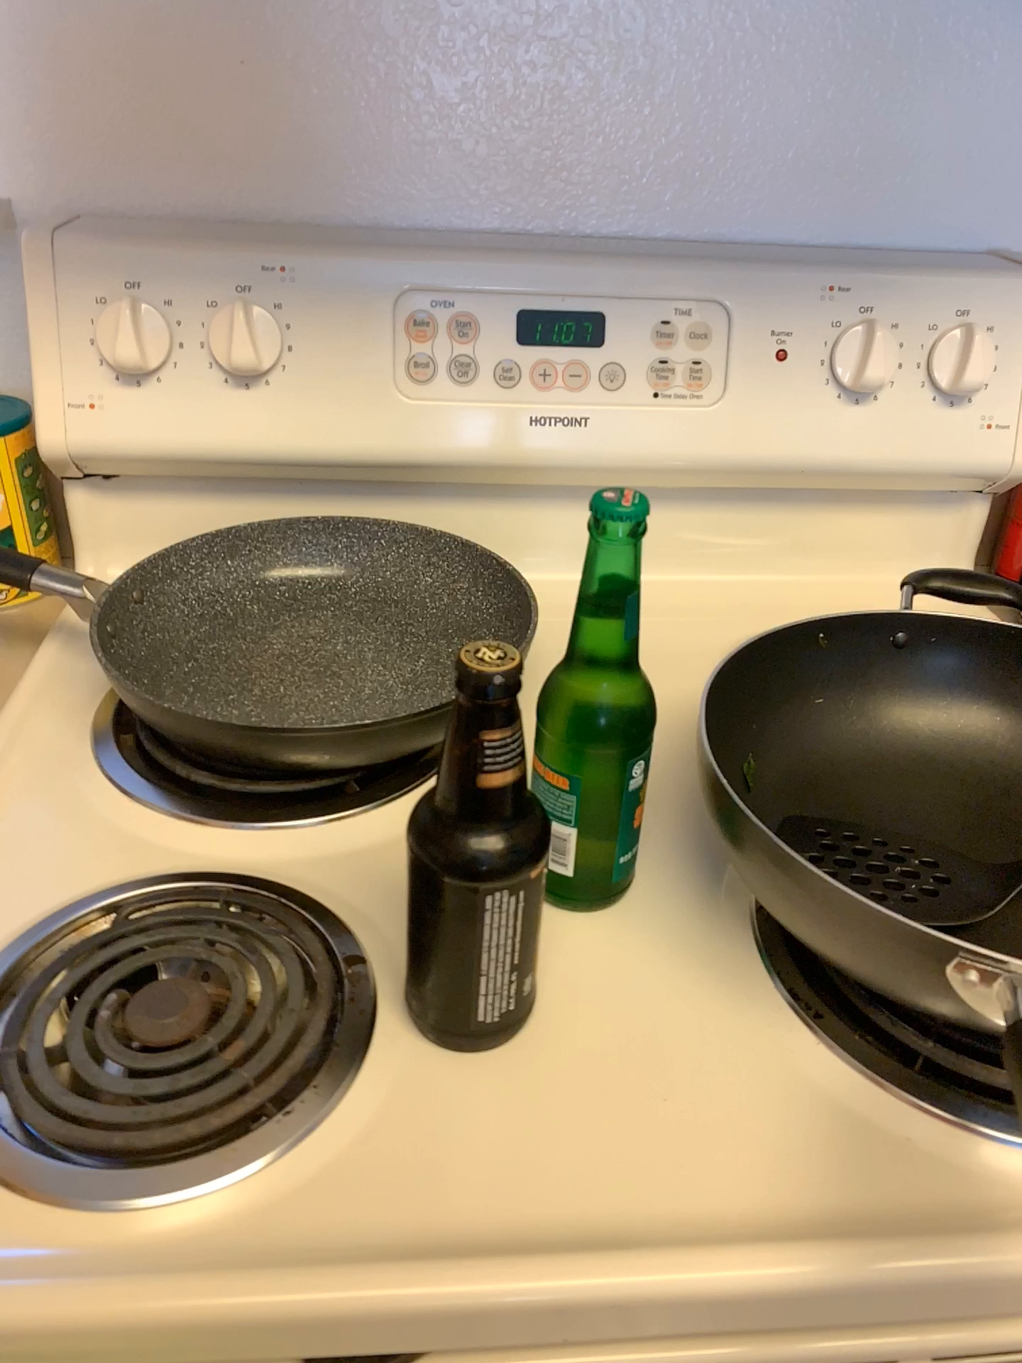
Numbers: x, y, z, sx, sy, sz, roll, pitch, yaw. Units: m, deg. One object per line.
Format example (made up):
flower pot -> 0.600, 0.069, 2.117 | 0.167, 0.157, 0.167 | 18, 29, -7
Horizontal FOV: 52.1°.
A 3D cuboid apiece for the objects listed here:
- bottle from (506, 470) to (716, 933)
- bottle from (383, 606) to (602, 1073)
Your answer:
bottle -> 0.043, 0.013, 0.502 | 0.060, 0.209, 0.060 | 2, 31, -1
bottle -> -0.013, 0.070, 0.450 | 0.070, 0.189, 0.070 | 2, 31, -1
